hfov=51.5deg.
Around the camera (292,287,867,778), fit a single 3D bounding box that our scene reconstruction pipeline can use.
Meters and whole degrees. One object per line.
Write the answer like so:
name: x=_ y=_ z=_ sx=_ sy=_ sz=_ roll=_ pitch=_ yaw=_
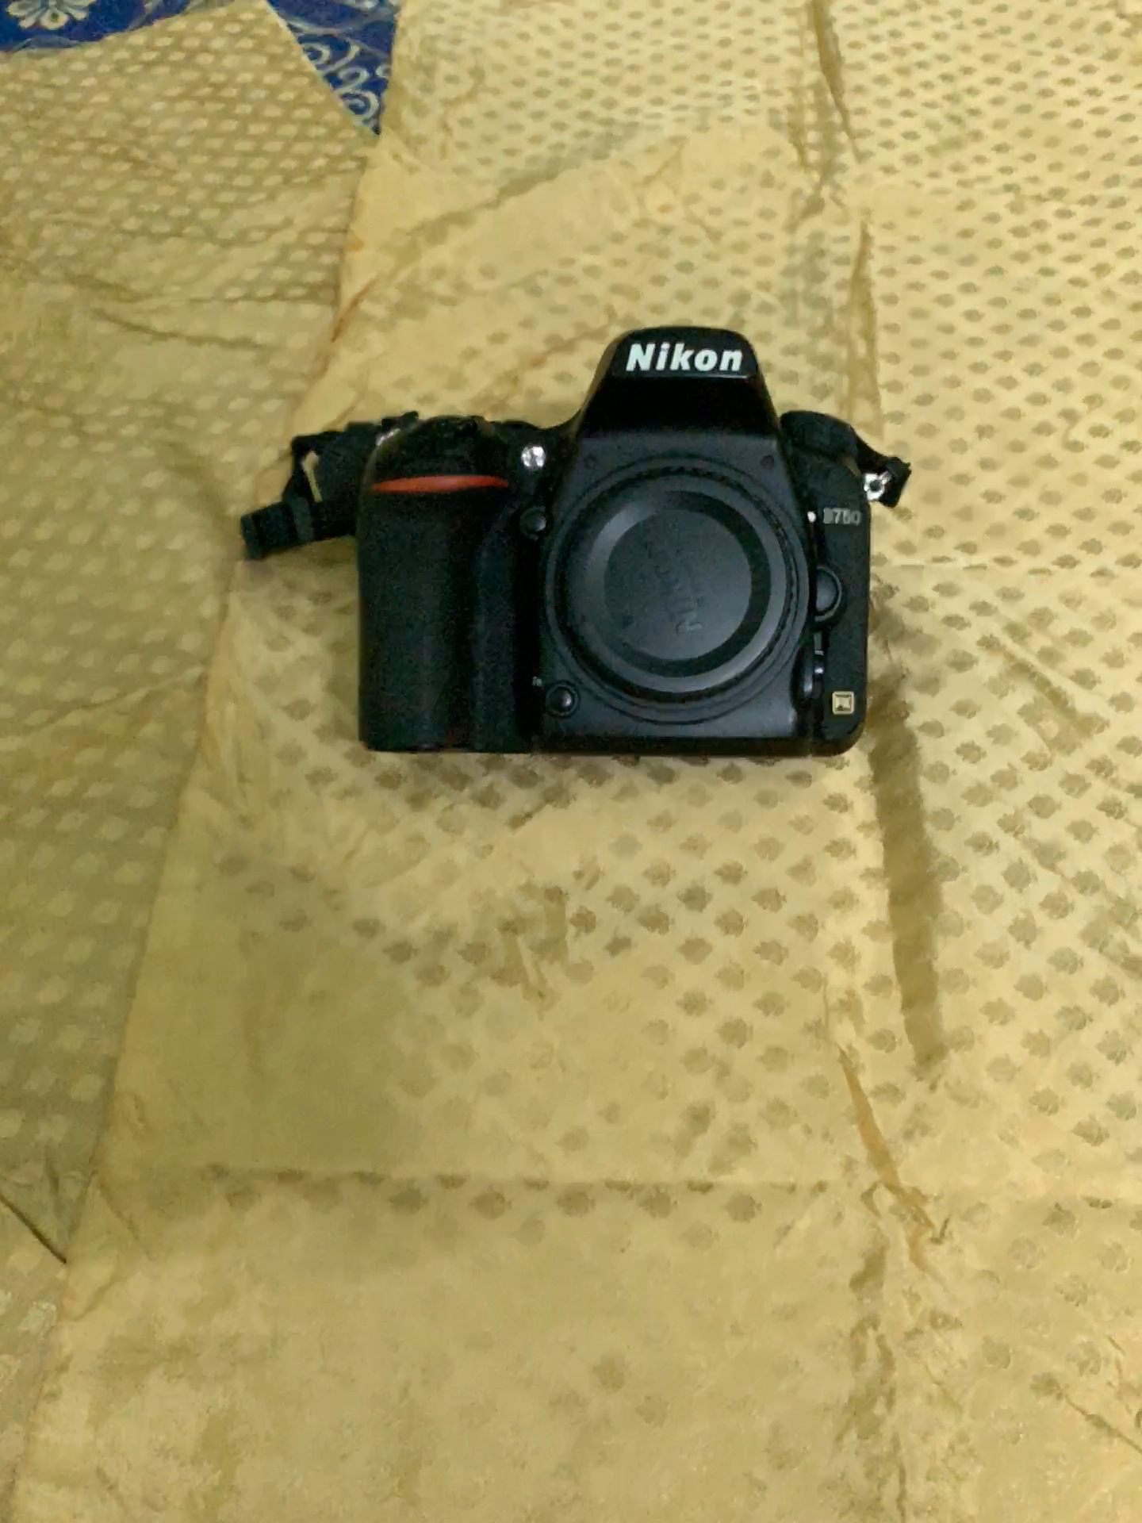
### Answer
camera: x=0.002 y=-0.053 z=0.308 sx=0.130 sy=0.073 sz=0.110 roll=1 pitch=91 yaw=1
